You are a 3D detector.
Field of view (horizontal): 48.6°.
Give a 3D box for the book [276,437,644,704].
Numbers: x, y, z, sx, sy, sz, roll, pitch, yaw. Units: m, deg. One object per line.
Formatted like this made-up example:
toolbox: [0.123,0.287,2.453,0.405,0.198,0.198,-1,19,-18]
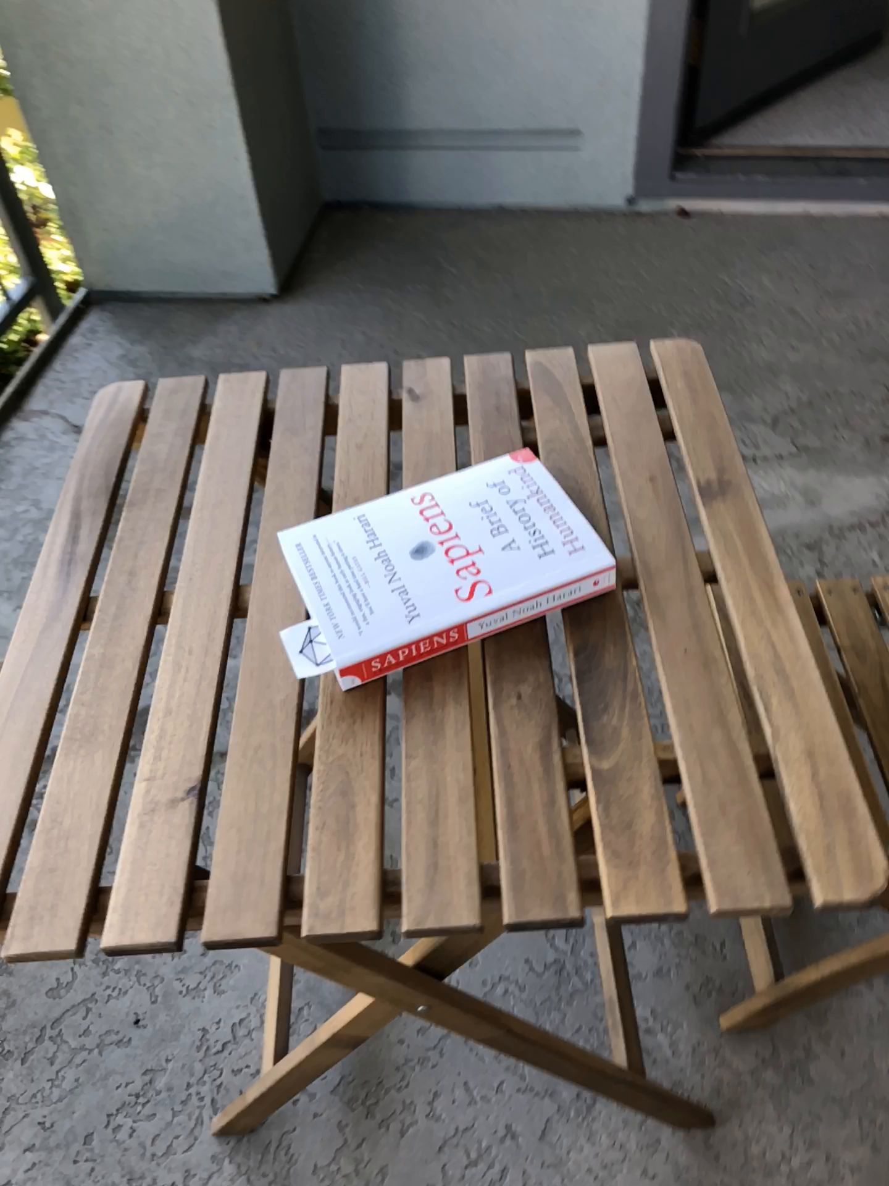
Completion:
book: [0.009,-0.027,0.775,0.240,0.040,0.161,-20,49,-13]
